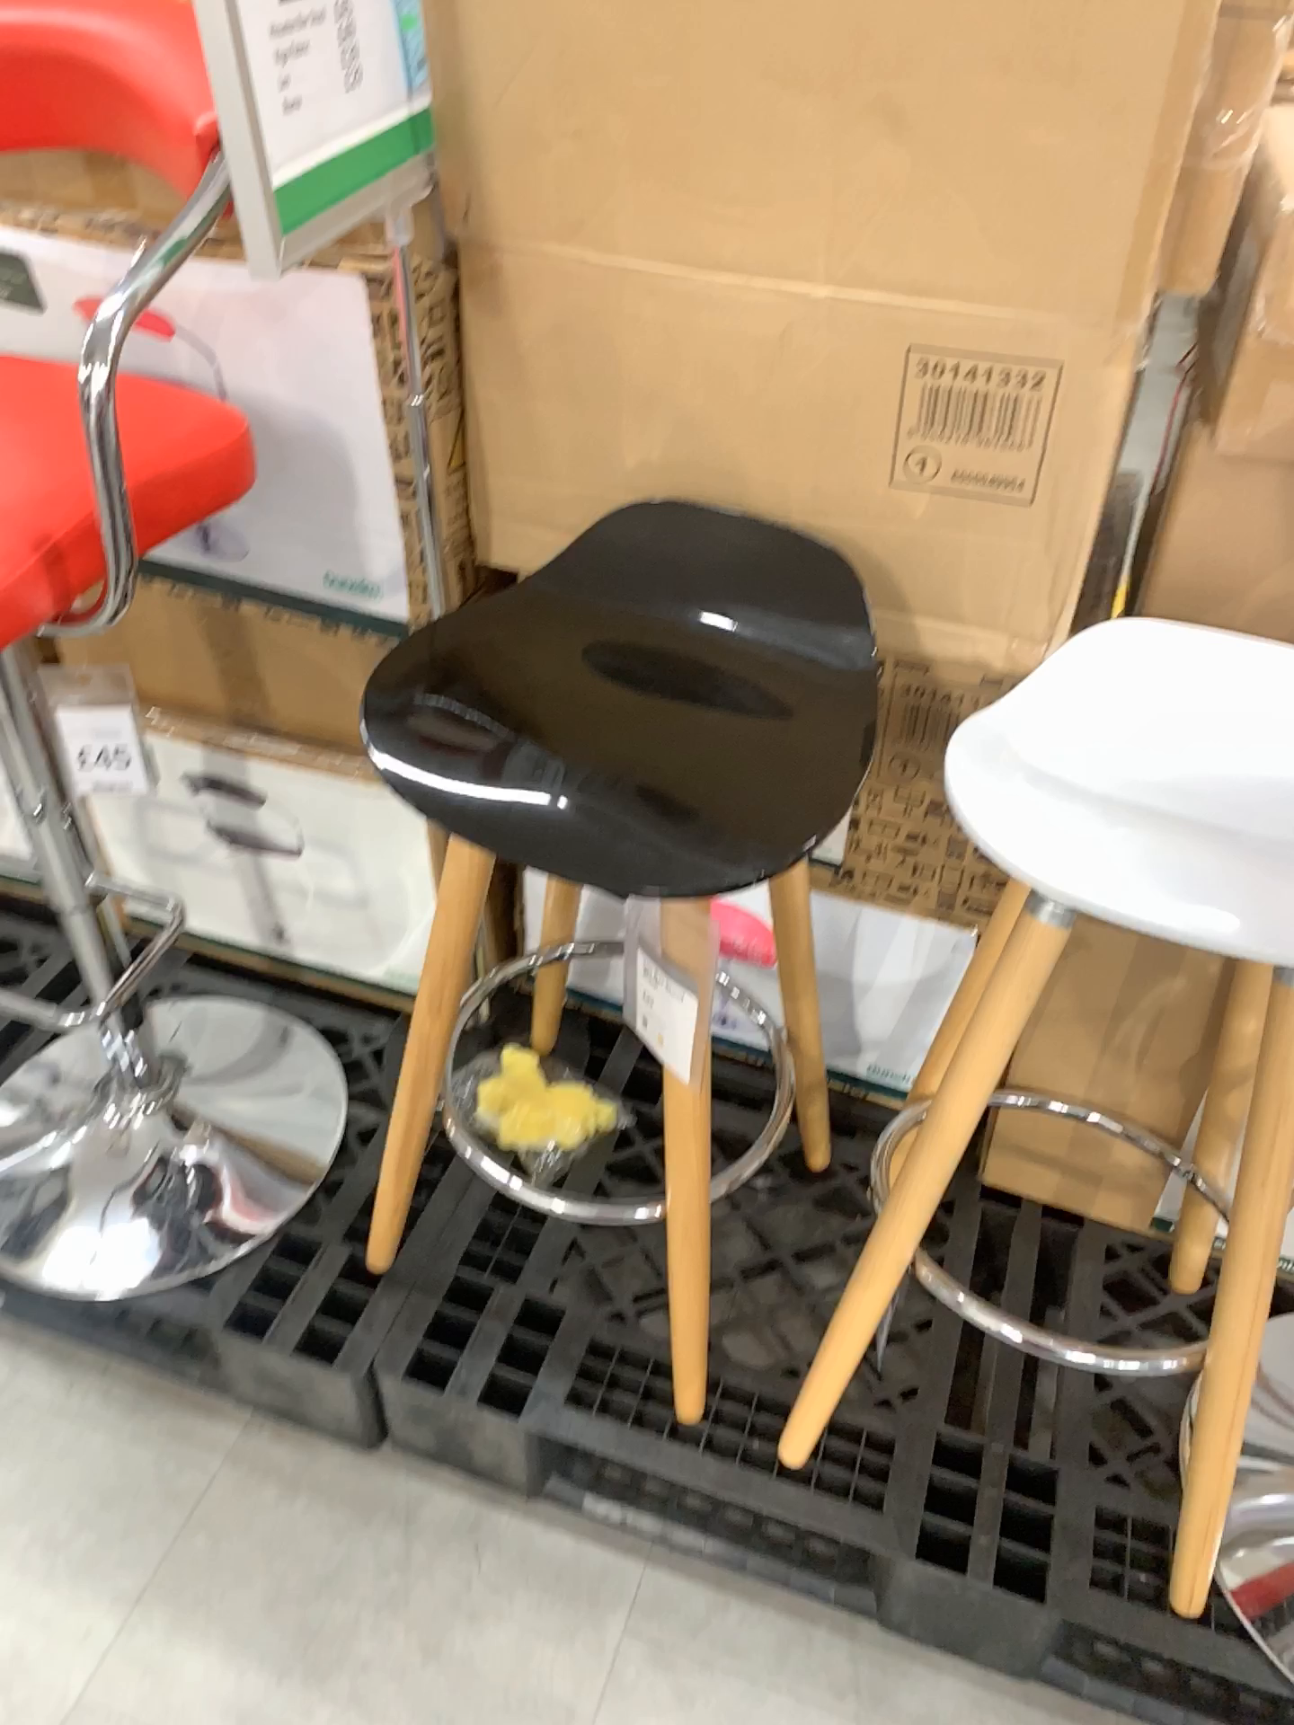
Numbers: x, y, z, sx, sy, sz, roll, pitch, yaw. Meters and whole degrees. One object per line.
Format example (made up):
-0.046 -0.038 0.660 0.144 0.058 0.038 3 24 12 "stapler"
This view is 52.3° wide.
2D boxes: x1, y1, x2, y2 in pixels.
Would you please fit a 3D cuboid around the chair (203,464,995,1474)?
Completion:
-0.018 0.085 1.171 0.429 0.673 0.433 18 40 20 "chair"

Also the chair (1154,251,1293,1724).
0.722 0.206 0.851 0.509 0.980 0.454 10 38 12 "chair"

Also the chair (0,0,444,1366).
-0.558 -0.121 1.148 0.549 1.029 0.454 11 38 12 "chair"

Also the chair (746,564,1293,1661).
0.368 0.193 1.090 0.409 0.663 0.484 13 39 15 "chair"
